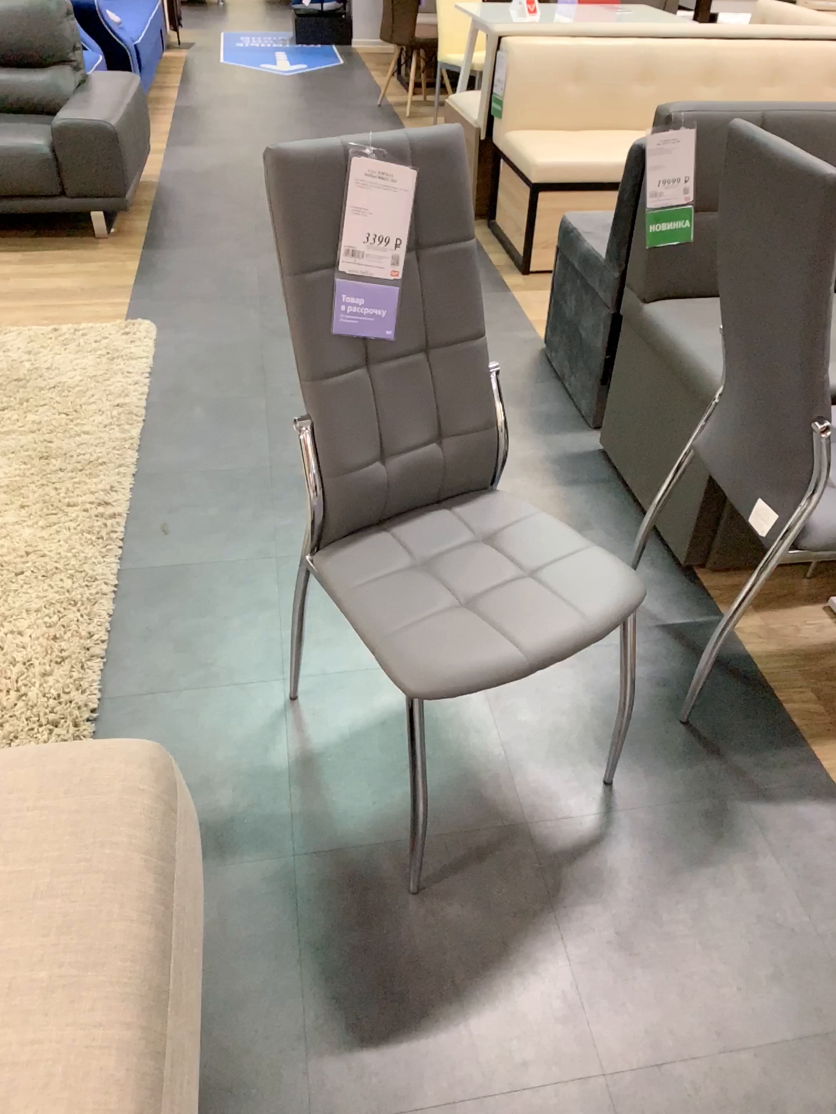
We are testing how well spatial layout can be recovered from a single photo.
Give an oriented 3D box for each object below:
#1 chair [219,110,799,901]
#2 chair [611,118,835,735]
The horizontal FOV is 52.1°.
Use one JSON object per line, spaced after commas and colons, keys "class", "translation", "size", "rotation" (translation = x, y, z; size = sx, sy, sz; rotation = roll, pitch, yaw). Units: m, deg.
{"class": "chair", "translation": [0.067, -0.061, 1.341], "size": [0.471, 1.024, 0.532], "rotation": [-19, 43, -25]}
{"class": "chair", "translation": [0.779, -0.201, 1.595], "size": [0.550, 1.024, 0.452], "rotation": [-3, 39, -6]}
